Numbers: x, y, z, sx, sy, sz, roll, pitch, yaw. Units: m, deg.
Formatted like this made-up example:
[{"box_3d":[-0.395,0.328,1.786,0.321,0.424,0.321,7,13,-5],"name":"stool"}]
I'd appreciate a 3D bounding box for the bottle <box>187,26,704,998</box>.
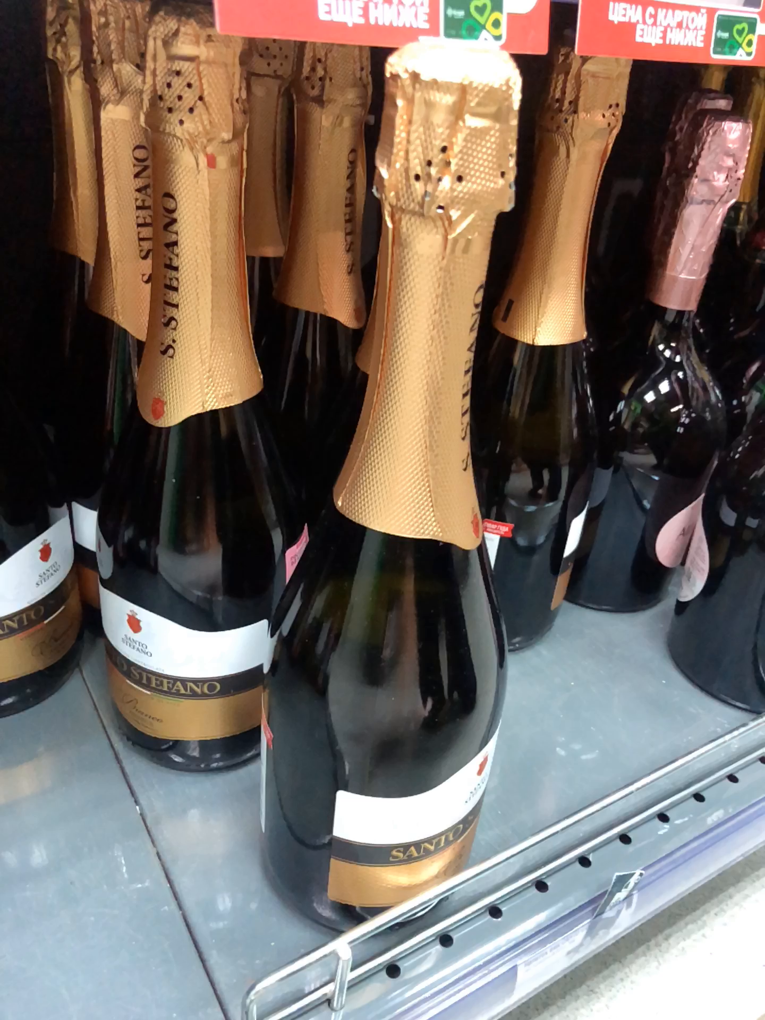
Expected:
[{"box_3d":[0.008,0.013,0.286,0.090,0.298,0.100,23,35,27],"name":"bottle"}]
